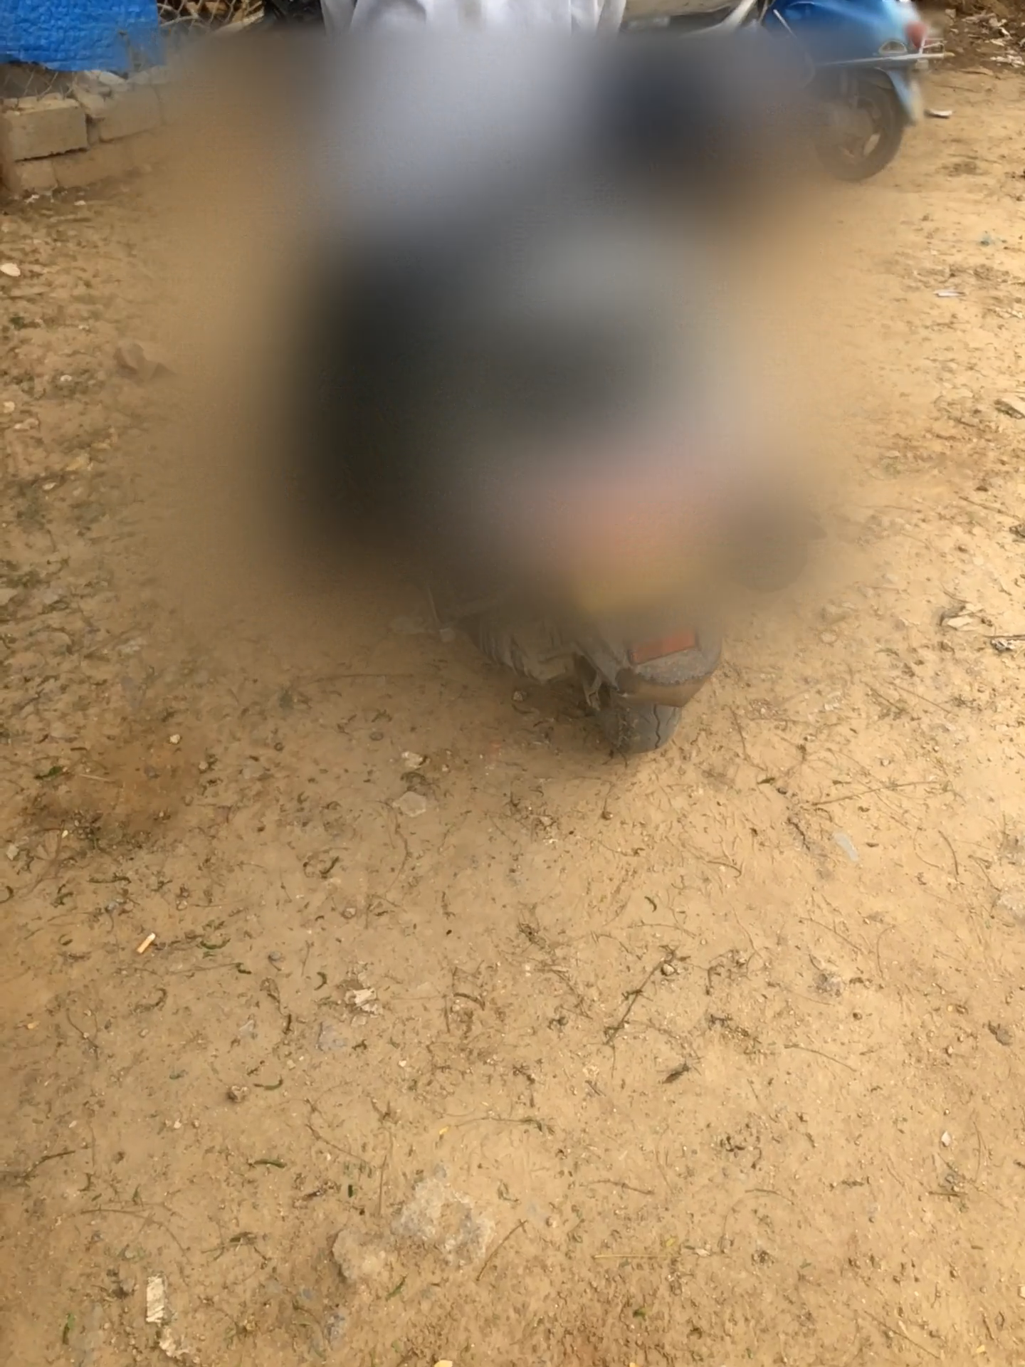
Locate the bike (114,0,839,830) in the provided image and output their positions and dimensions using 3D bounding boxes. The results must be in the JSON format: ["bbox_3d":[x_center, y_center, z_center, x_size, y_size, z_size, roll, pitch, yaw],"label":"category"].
[{"bbox_3d":[-0.237,-0.795,2.012,0.623,1.054,1.729,-10,39,-14],"label":"bike"}]
